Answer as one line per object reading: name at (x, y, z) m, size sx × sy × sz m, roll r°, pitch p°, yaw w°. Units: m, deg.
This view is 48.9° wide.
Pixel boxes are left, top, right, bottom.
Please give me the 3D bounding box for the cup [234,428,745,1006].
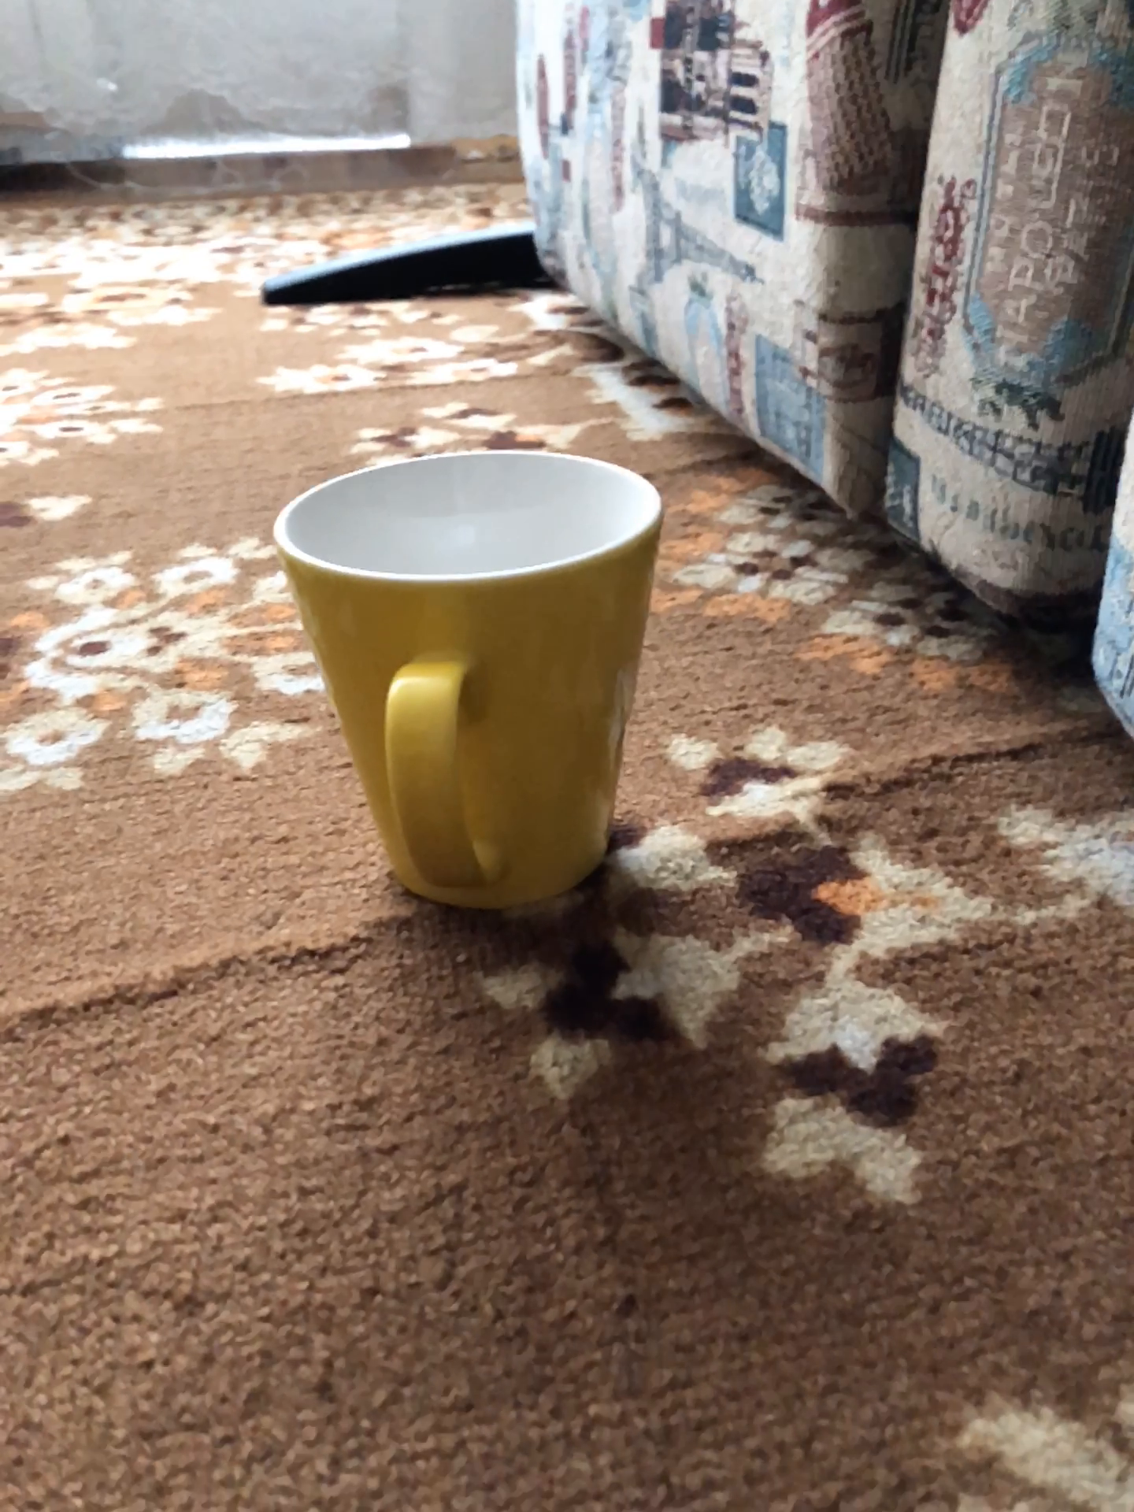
cup at (-0.021, -0.019, 0.311) m, size 0.097 × 0.088 × 0.125 m, roll -5°, pitch 29°, yaw -6°
